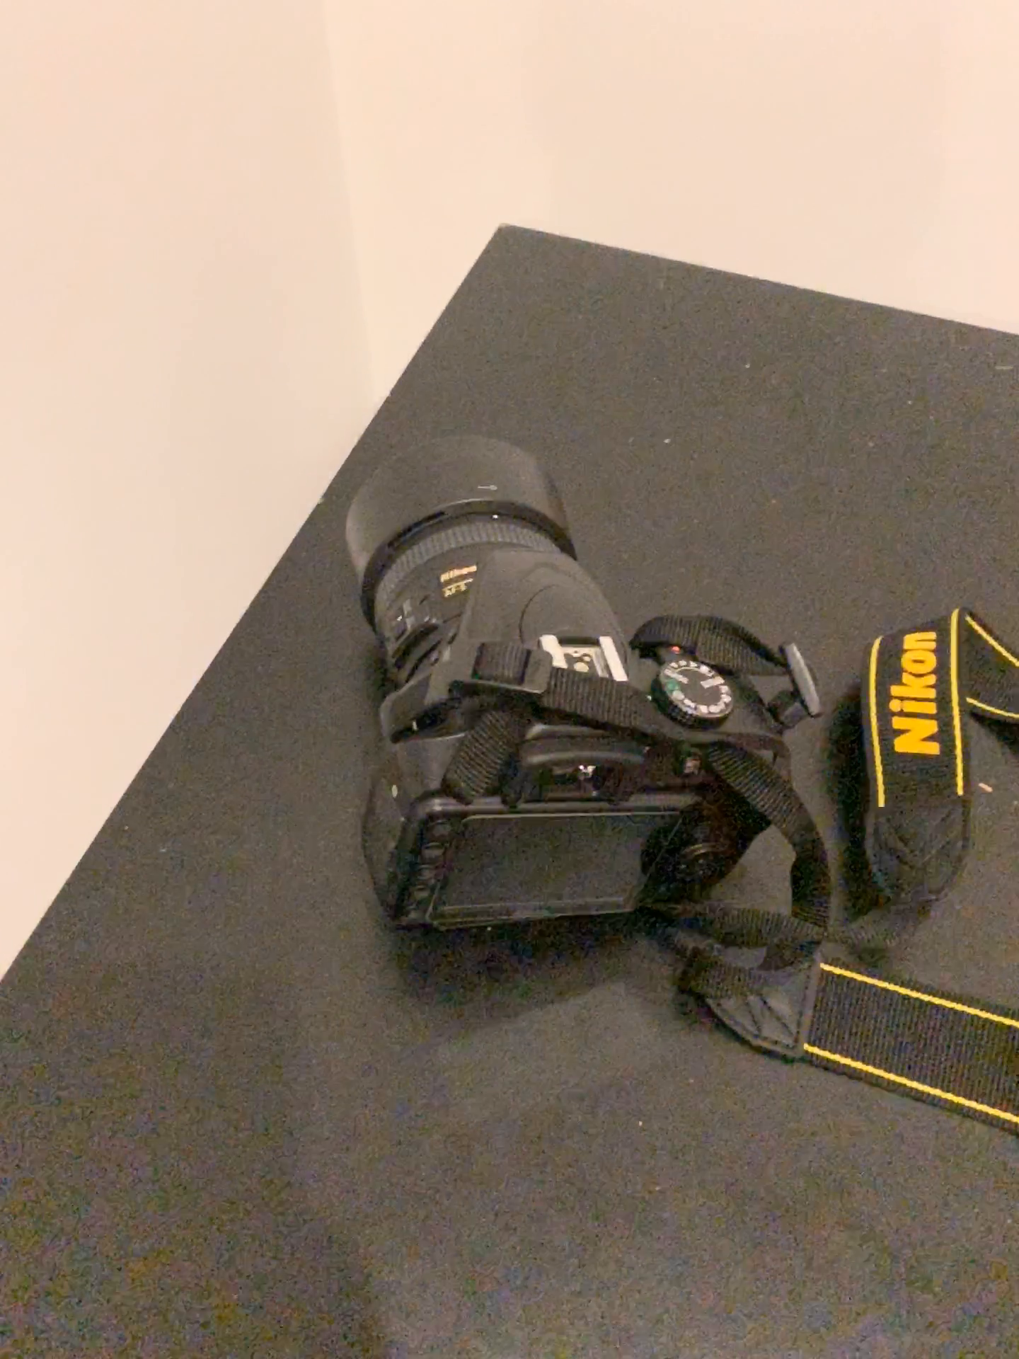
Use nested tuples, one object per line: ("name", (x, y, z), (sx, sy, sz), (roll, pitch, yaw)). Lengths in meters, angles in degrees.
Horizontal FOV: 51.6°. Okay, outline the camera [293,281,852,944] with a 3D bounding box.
("camera", (0.001, -0.034, 0.366), (0.116, 0.089, 0.220), (1, 46, -21))
